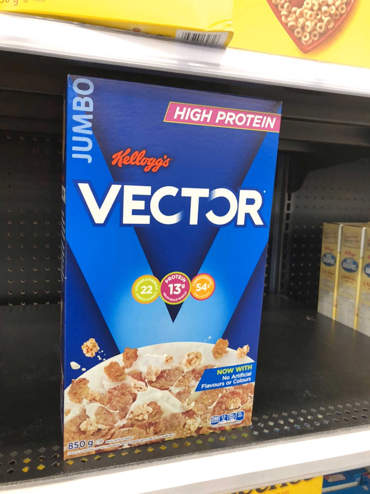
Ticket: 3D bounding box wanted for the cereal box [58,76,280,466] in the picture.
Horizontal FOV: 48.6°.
[{"bbox_3d":[-0.026,0.026,0.428,0.200,0.349,0.080,0,11,-20],"label":"cereal box"}]
